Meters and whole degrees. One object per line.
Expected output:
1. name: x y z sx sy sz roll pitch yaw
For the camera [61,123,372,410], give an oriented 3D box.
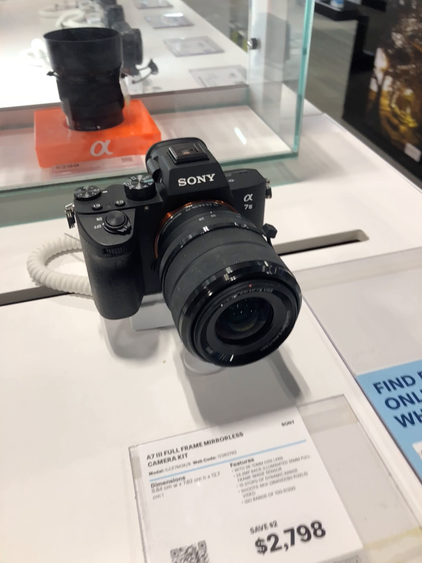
1. camera: -0.011 -0.025 0.299 0.140 0.079 0.161 -12 40 -13
